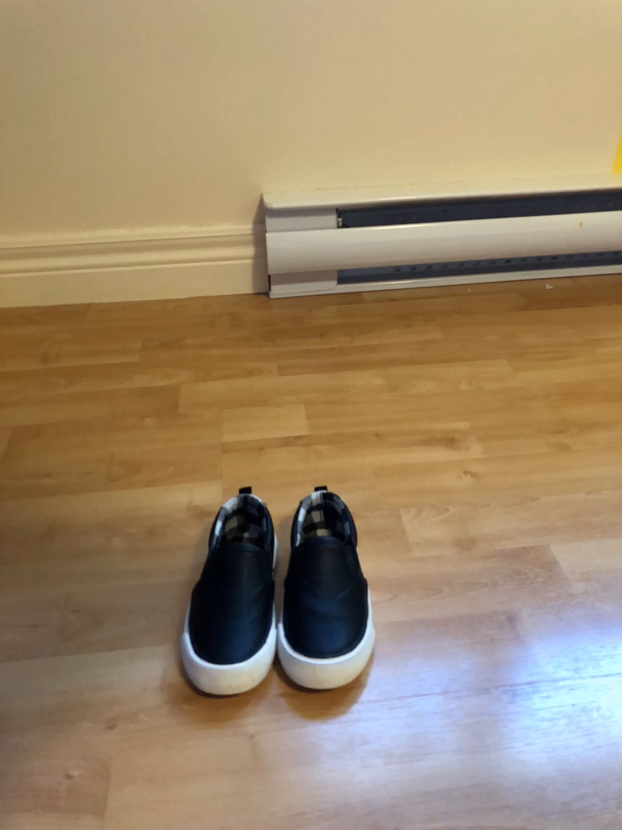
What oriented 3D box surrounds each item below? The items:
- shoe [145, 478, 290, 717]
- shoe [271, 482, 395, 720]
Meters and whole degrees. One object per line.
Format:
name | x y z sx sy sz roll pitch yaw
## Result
shoe | -0.062 0.129 0.521 0.080 0.060 0.181 0 34 2
shoe | 0.019 0.134 0.529 0.080 0.060 0.181 0 34 3
